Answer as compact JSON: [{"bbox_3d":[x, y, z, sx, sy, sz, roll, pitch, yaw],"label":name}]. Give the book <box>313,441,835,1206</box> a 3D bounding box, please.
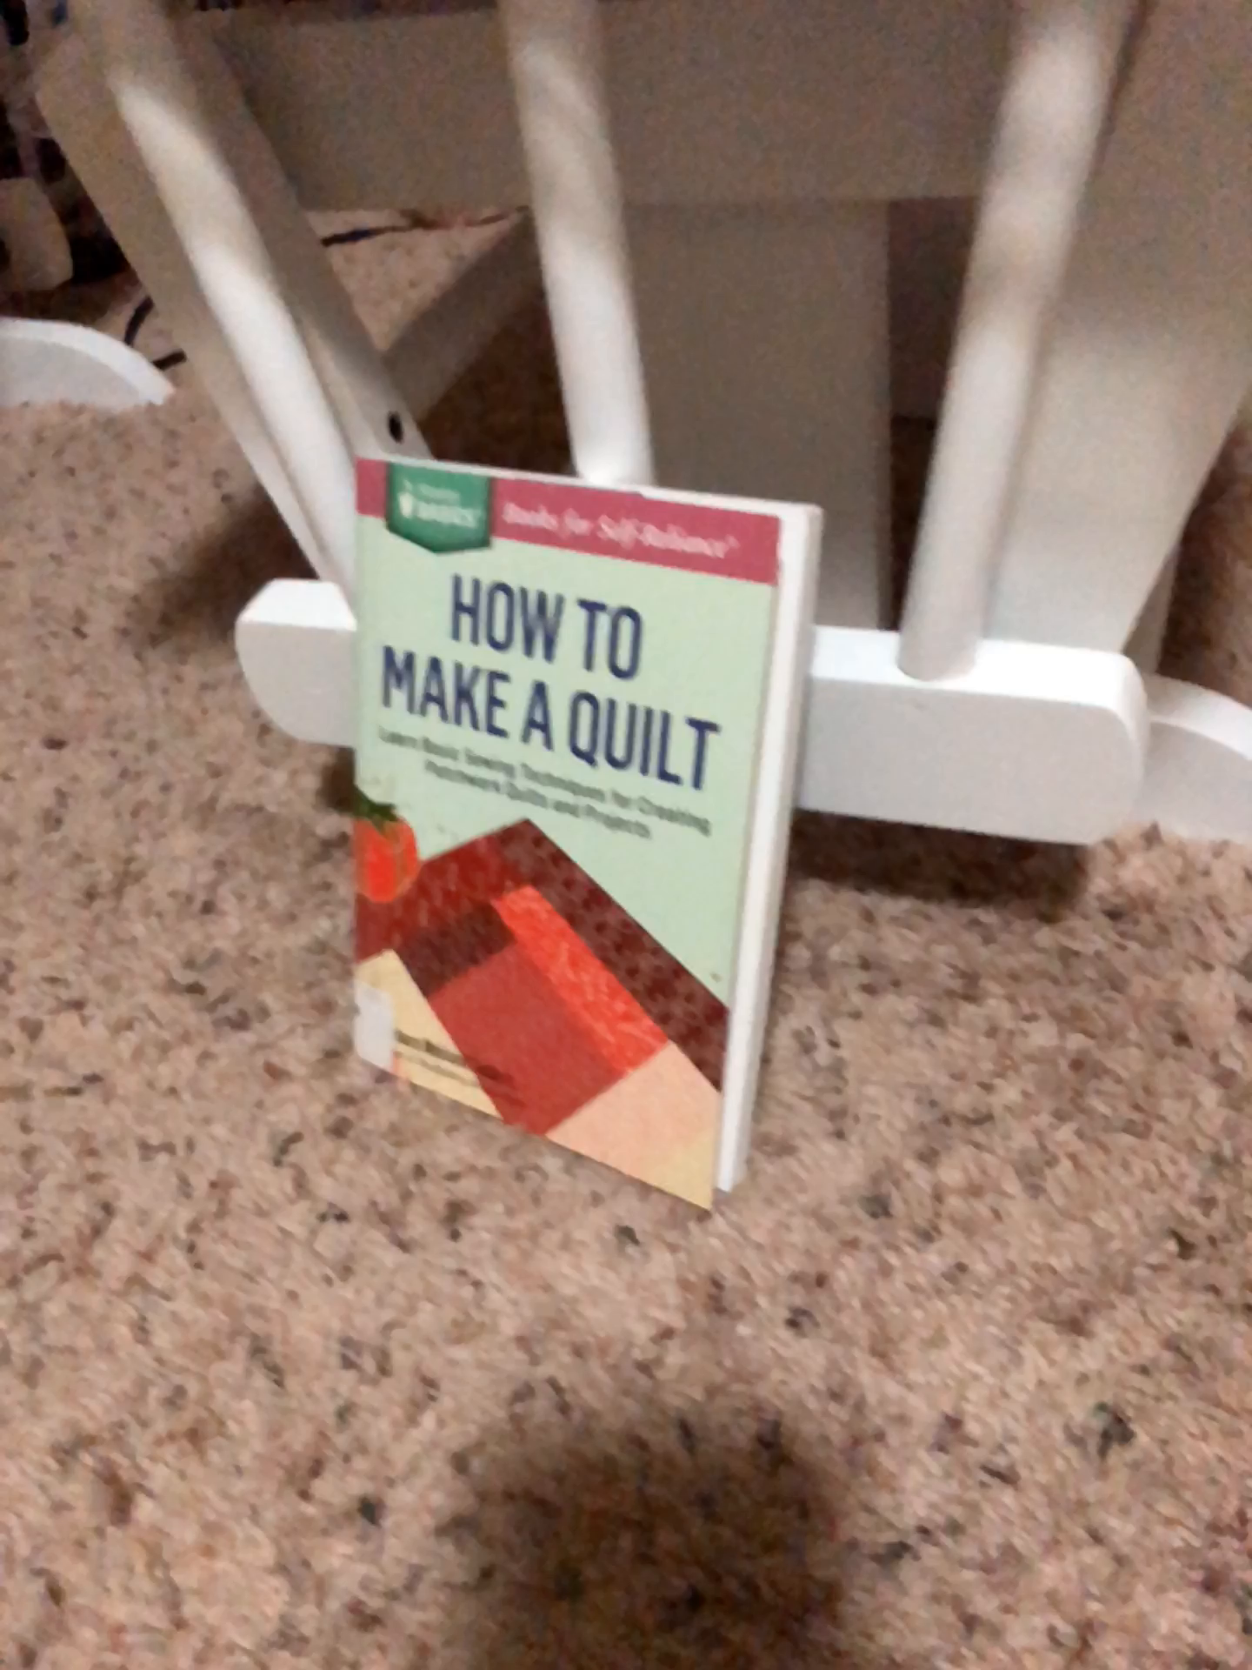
[{"bbox_3d":[-0.022,-0.006,0.356,0.130,0.168,0.020,16,21,28],"label":"book"}]
